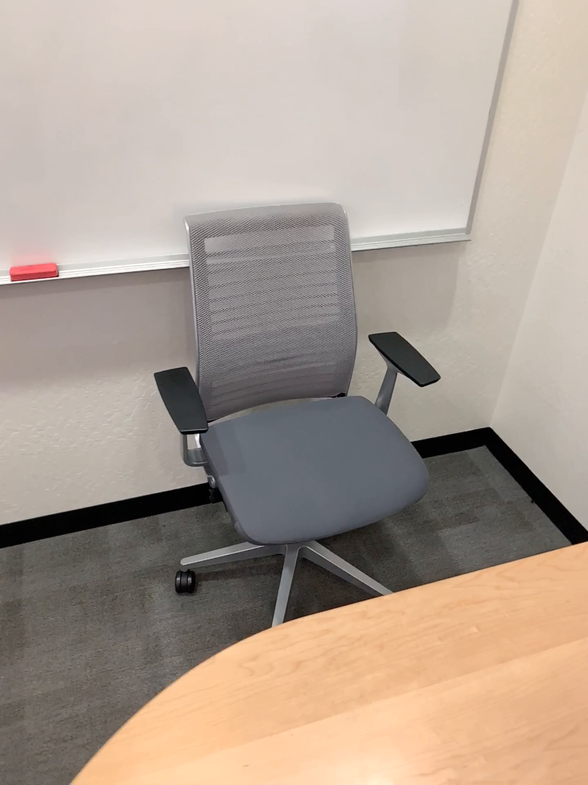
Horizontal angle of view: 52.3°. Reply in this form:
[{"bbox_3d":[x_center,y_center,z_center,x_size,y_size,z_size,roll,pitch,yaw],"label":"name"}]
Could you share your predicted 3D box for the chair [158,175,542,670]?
[{"bbox_3d":[0.066,0.066,1.927,0.760,1.263,0.754,-10,35,-20],"label":"chair"}]
